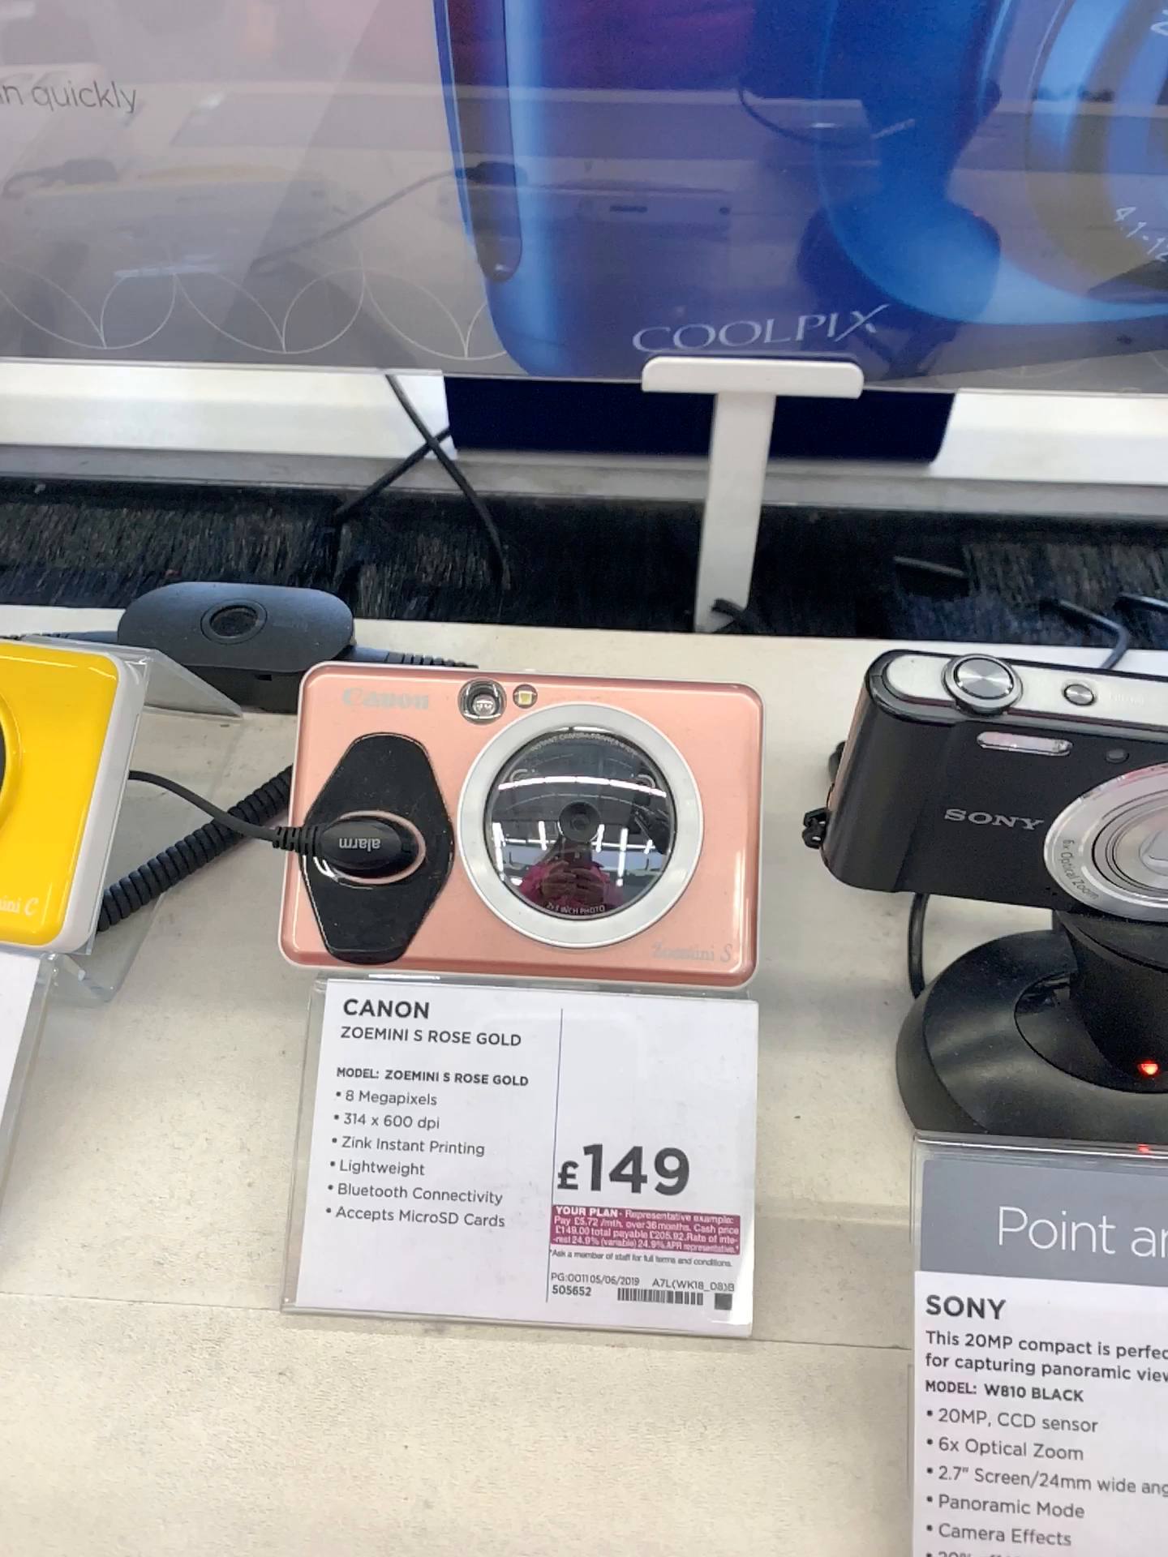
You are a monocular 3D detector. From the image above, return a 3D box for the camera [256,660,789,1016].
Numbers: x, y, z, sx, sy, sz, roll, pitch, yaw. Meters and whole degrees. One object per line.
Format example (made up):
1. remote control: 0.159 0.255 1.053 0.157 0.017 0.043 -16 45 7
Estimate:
1. camera: -0.014 0.015 0.311 0.129 0.020 0.083 3 81 2
